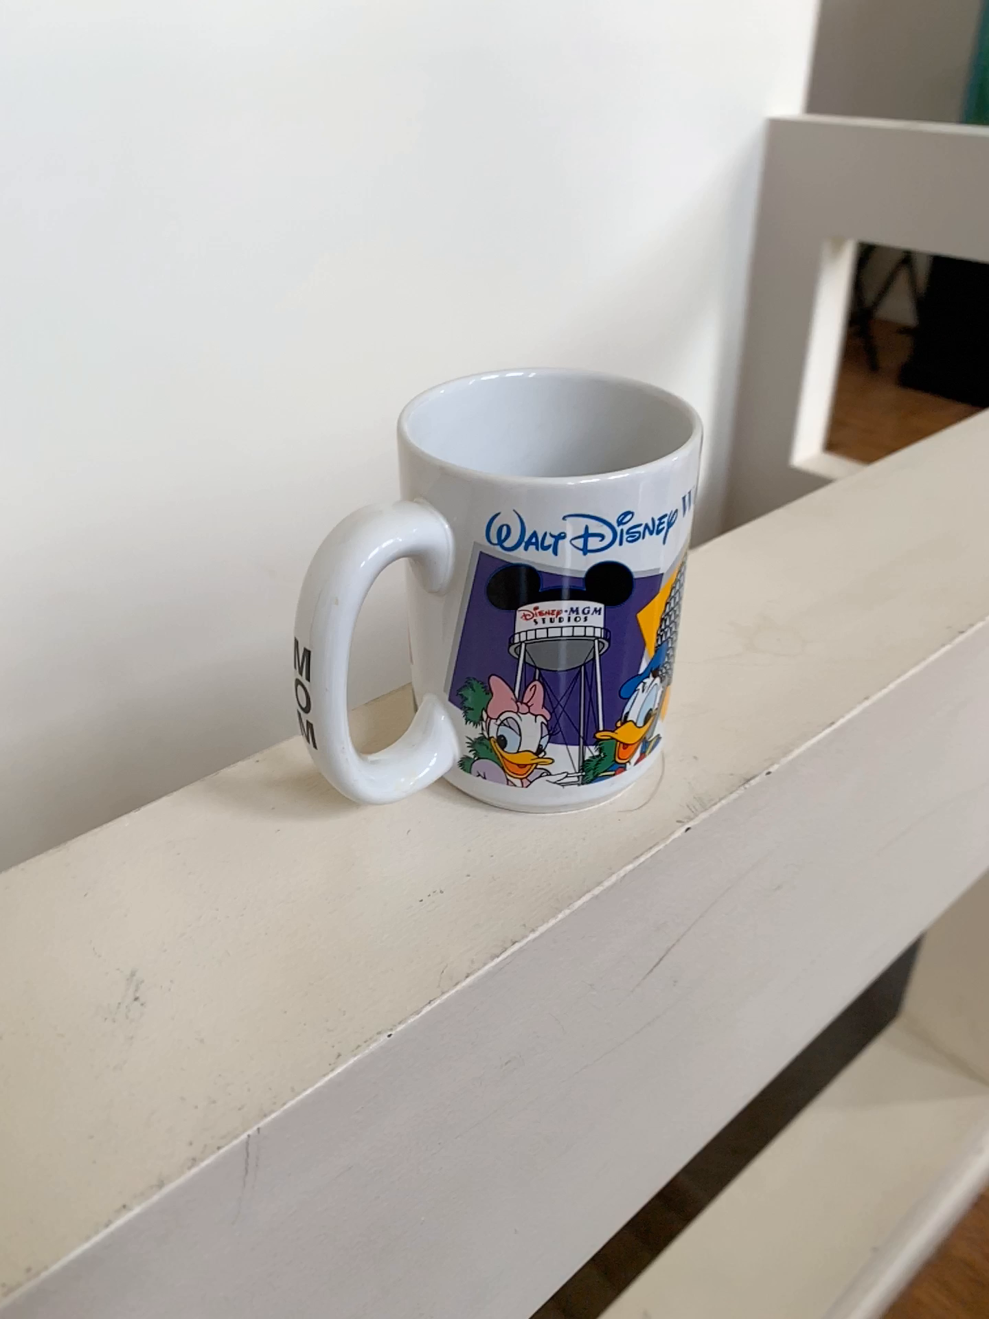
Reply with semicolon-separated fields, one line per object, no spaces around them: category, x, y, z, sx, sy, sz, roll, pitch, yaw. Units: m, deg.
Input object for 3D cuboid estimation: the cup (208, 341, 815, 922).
cup;0.006;-0.017;0.300;0.140;0.109;0.080;-21;38;-28
